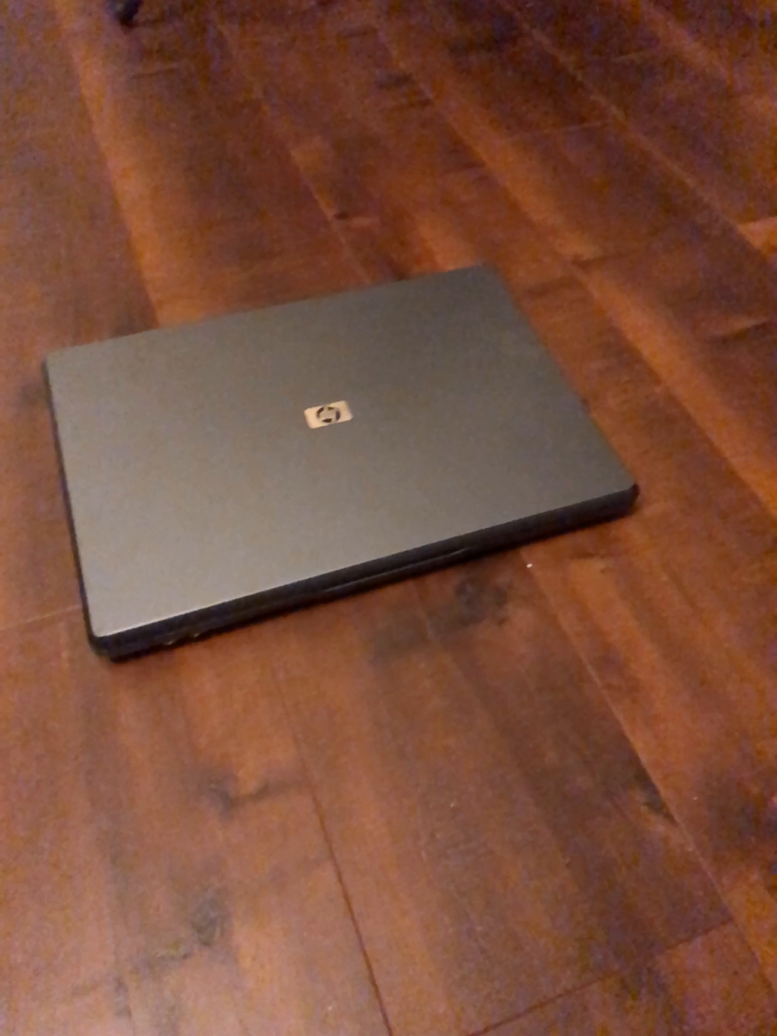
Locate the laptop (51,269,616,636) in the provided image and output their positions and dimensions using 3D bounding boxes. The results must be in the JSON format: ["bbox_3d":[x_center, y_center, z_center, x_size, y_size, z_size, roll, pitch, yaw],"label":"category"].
[{"bbox_3d":[-0.042,-0.062,0.543,0.309,0.005,0.217,-15,55,-14],"label":"laptop"}]
